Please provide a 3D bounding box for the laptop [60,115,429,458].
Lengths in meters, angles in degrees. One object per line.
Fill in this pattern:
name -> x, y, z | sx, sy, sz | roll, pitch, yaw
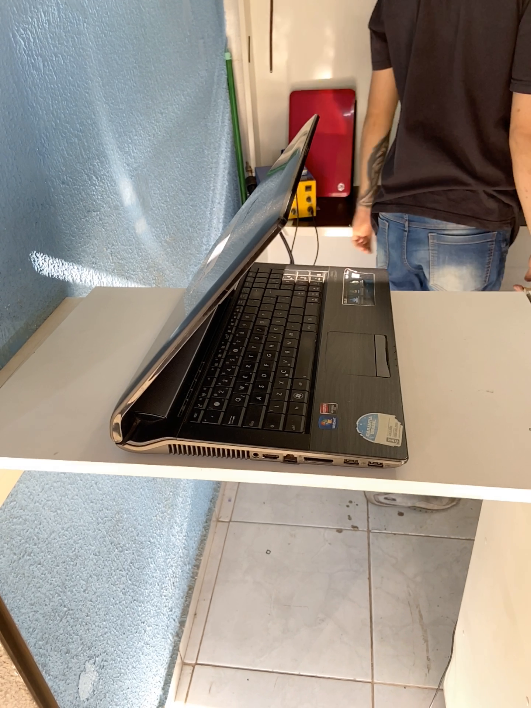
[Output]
laptop -> 0.013, -0.108, 0.585 | 0.255, 0.208, 0.389 | 1, 32, 9
